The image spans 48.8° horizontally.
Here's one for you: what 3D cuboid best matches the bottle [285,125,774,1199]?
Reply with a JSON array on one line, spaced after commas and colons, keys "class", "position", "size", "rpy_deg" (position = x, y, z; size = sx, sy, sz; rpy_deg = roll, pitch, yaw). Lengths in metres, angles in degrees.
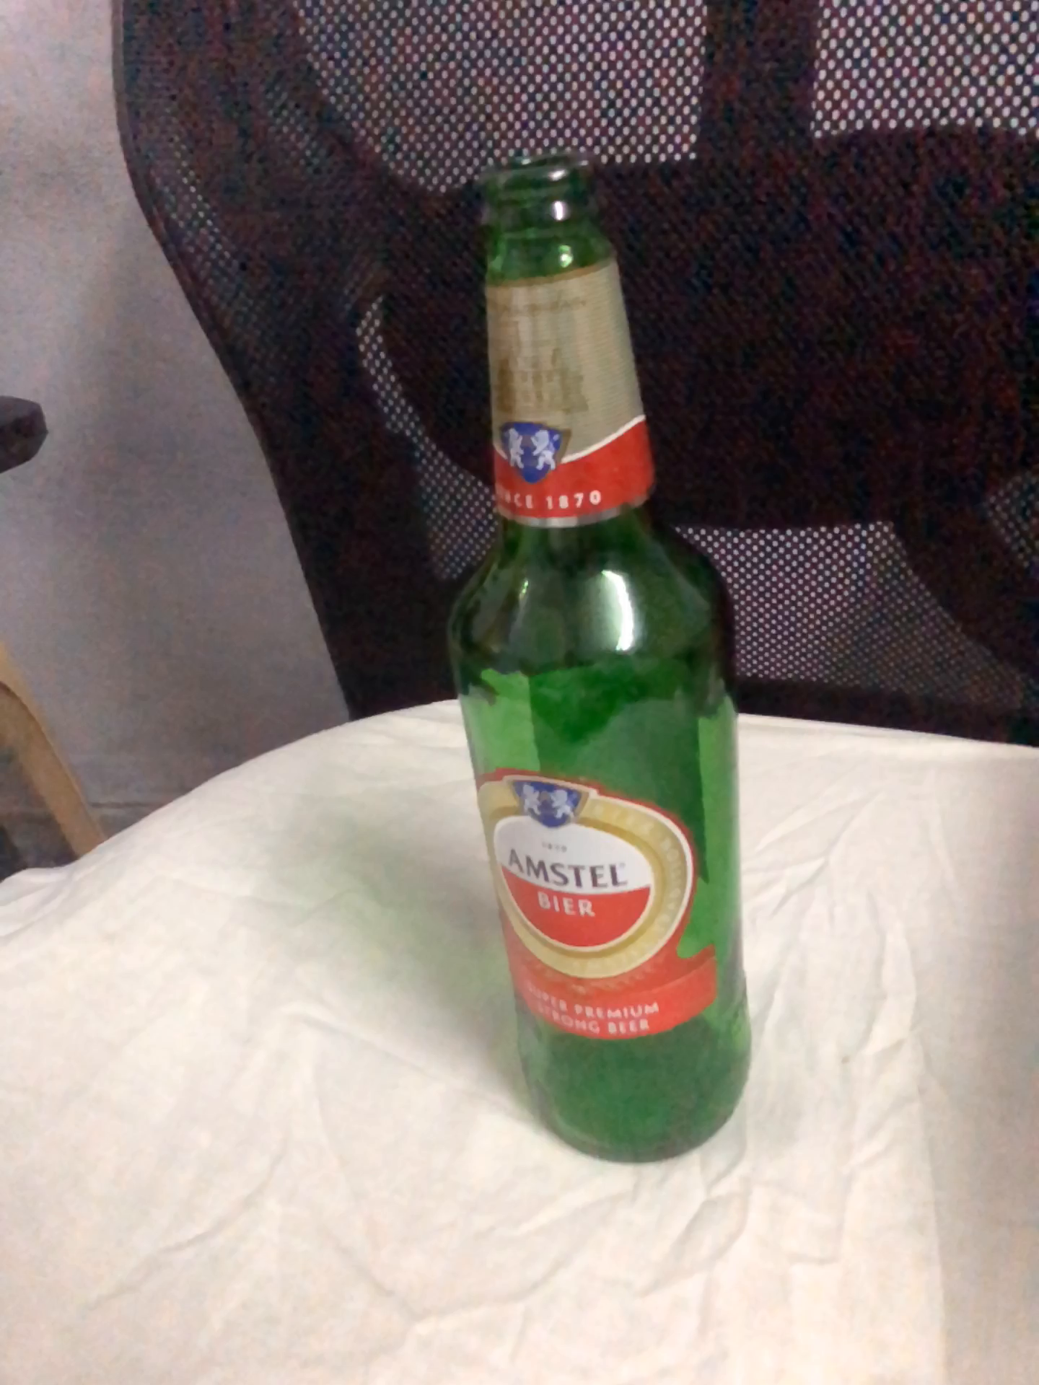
[{"class": "bottle", "position": [0.018, 0.013, 0.299], "size": [0.080, 0.279, 0.060], "rpy_deg": [7, 35, 20]}]
